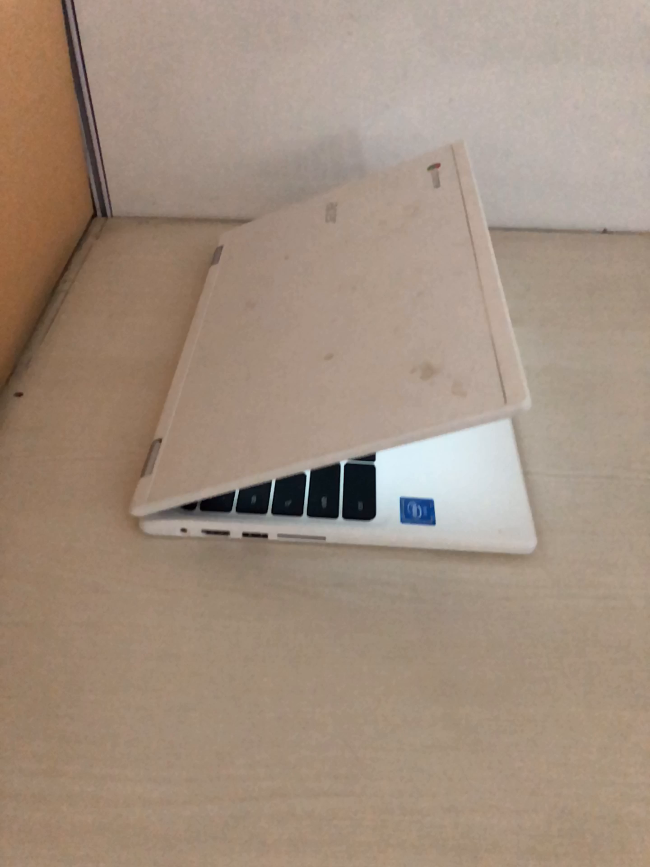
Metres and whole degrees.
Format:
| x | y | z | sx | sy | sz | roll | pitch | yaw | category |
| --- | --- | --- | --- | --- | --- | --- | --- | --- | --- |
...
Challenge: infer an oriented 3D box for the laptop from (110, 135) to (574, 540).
| x | y | z | sx | sy | sz | roll | pitch | yaw | category |
| --- | --- | --- | --- | --- | --- | --- | --- | --- | --- |
| 0.013 | -0.081 | 0.443 | 0.200 | 0.092 | 0.285 | 2 | 43 | 2 | laptop |
